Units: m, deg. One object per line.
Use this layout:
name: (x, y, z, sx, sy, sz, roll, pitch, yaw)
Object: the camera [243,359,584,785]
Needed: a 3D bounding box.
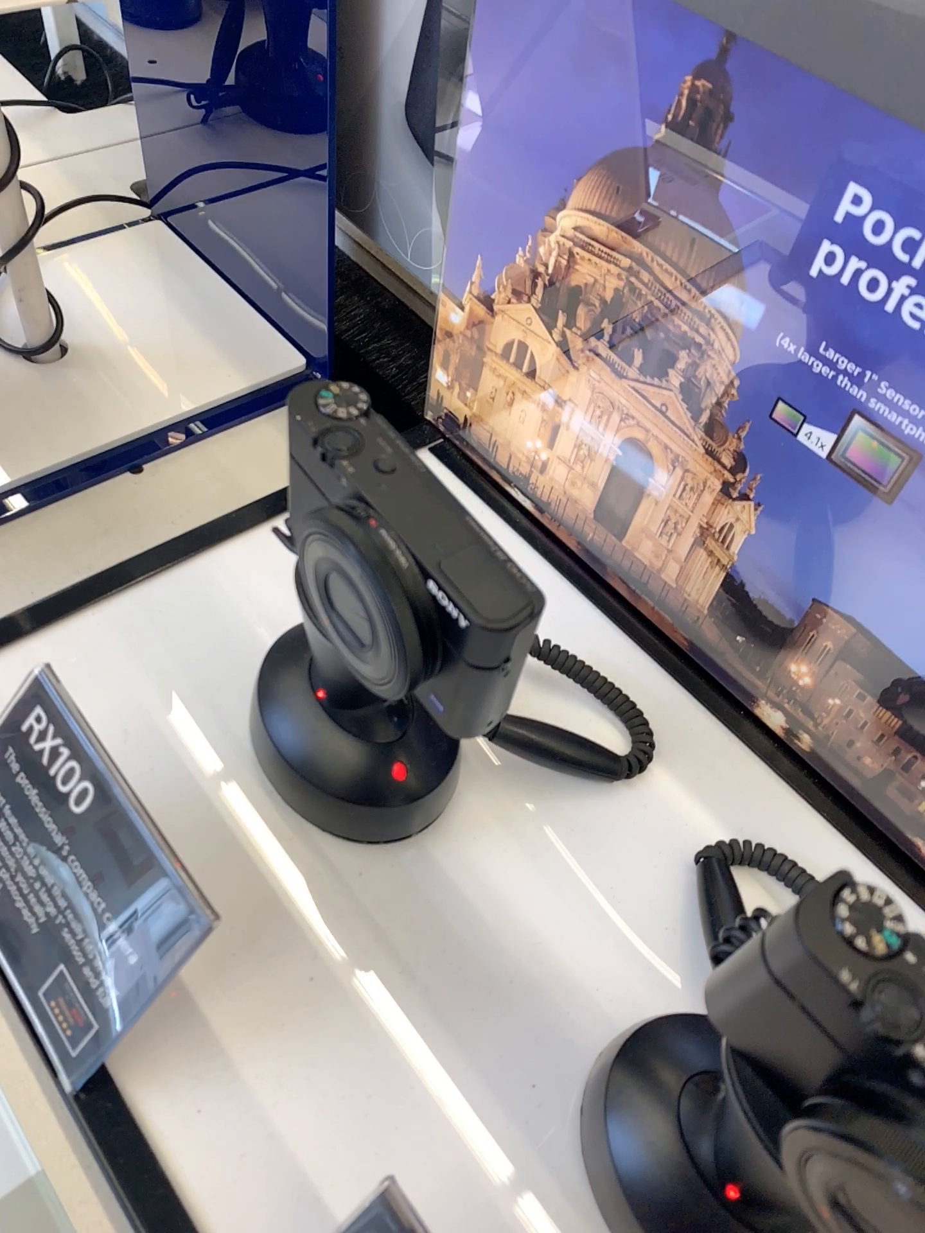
camera: (-0.019, -0.014, 0.280, 0.040, 0.069, 0.100, -29, 61, -27)
